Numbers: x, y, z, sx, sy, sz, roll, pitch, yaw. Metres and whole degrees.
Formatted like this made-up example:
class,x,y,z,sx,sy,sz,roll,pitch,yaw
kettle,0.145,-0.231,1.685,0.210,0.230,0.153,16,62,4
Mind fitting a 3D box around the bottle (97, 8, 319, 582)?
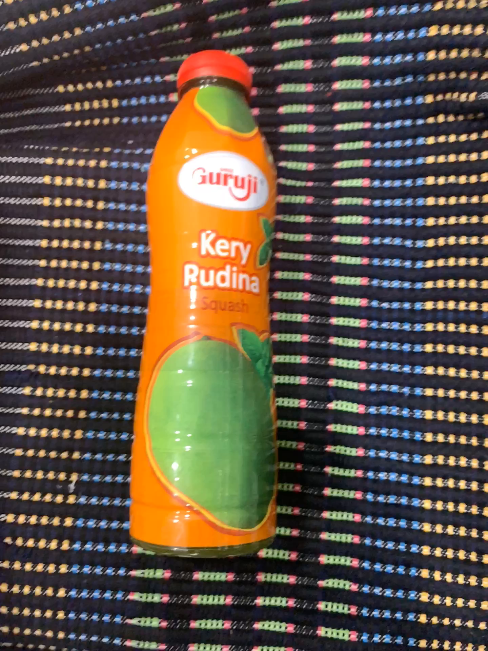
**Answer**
class,x,y,z,sx,sy,sz,roll,pitch,yaw
bottle,-0.013,-0.015,0.247,0.070,0.070,0.230,11,76,-43
